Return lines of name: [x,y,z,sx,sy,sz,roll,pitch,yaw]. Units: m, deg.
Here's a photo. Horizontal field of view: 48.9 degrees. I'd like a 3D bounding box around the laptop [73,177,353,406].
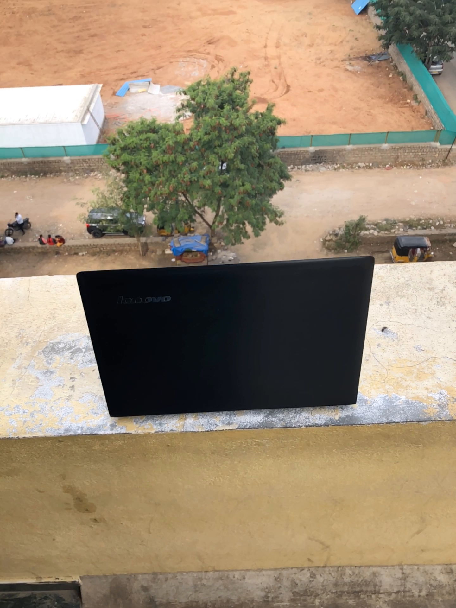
laptop: [-0.019,-0.018,0.761,0.333,0.223,0.246,-3,48,1]
